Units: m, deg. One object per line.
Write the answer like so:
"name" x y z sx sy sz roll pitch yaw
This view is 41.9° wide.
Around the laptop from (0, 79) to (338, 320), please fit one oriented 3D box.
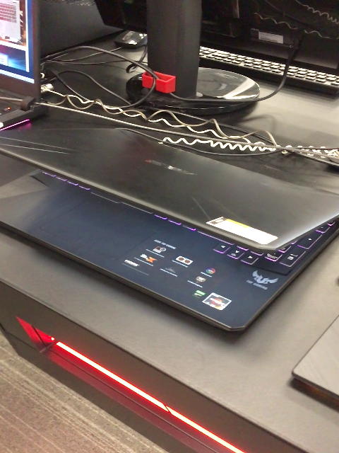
"laptop" -0.037 -0.063 0.526 0.376 0.088 0.252 22 45 25
